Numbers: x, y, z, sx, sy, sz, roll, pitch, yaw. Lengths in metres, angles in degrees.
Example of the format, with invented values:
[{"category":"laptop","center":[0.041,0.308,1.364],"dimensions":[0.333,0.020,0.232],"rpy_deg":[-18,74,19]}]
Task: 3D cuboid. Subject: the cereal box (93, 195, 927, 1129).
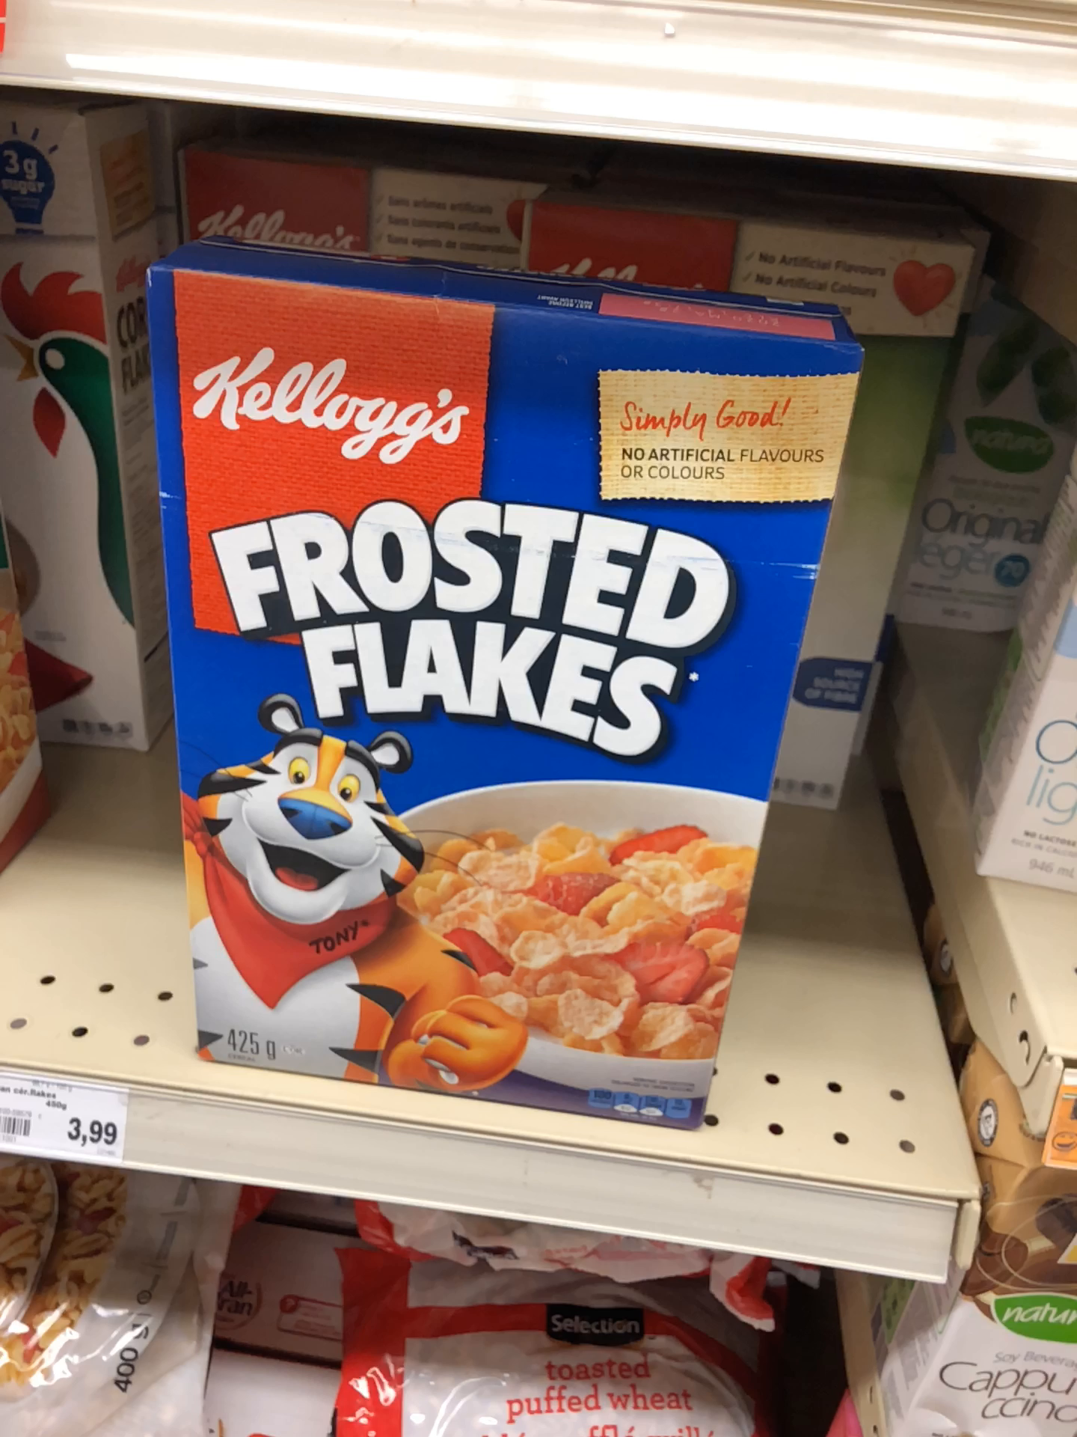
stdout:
[{"category":"cereal box","center":[-0.017,-0.006,0.388],"dimensions":[0.210,0.278,0.060],"rpy_deg":[7,28,4]}]
